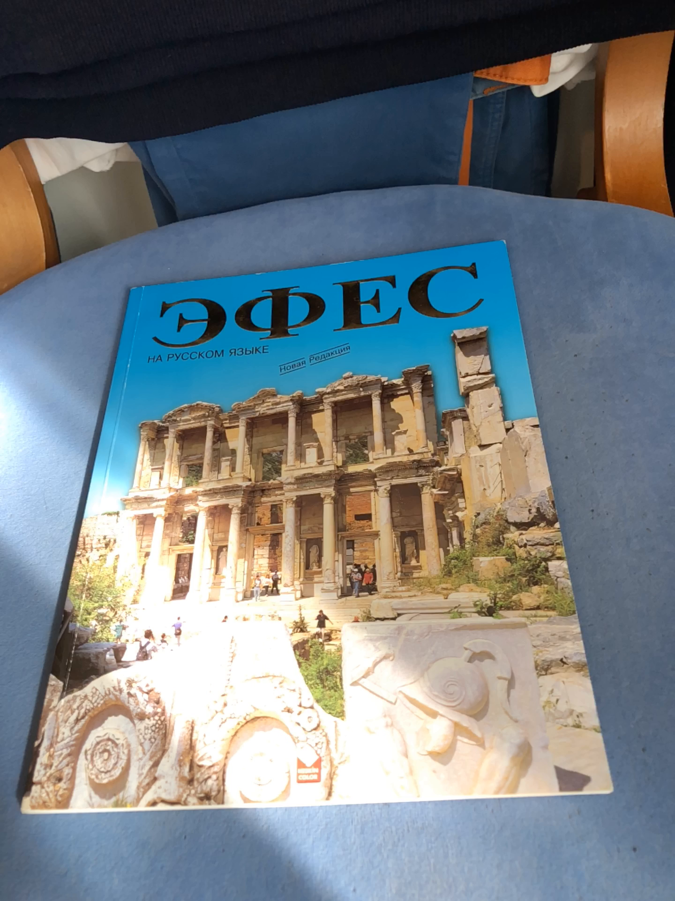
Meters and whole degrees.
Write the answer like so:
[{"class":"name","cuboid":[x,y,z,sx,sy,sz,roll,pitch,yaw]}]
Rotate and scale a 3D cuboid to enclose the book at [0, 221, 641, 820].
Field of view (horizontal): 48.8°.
[{"class":"book","cuboid":[-0.010,0.010,0.298,0.196,0.020,0.241,-5,57,7]}]
